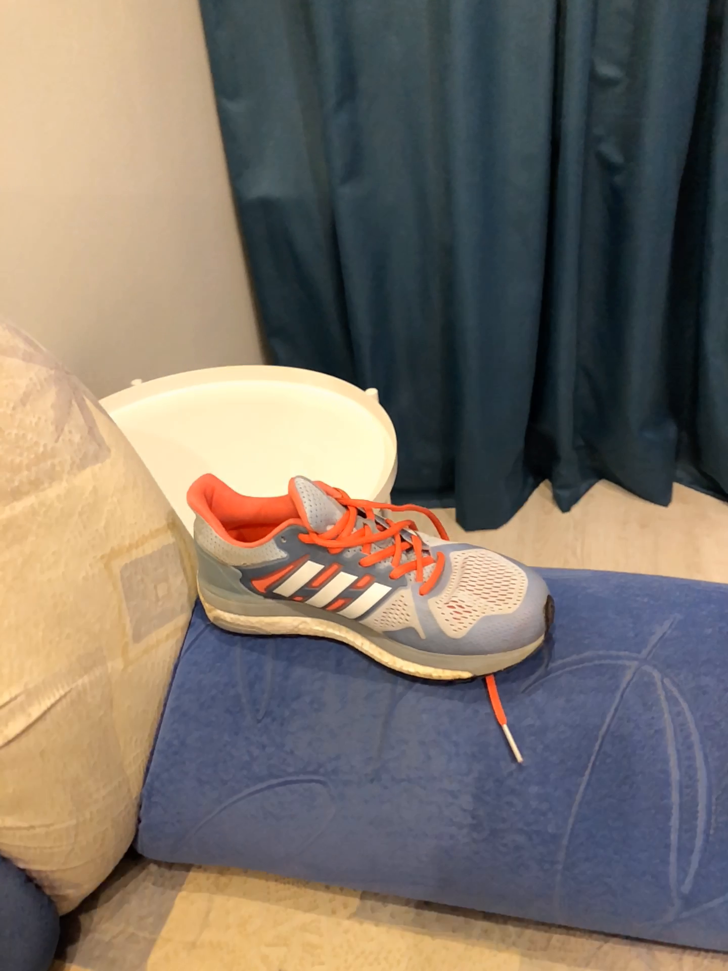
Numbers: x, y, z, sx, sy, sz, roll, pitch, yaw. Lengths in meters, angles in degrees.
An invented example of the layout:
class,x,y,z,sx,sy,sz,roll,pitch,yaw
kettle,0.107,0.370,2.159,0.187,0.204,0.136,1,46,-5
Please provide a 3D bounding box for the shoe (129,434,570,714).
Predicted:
class,x,y,z,sx,sy,sz,roll,pitch,yaw
shoe,-0.005,0.052,0.554,0.270,0.109,0.108,7,37,19
